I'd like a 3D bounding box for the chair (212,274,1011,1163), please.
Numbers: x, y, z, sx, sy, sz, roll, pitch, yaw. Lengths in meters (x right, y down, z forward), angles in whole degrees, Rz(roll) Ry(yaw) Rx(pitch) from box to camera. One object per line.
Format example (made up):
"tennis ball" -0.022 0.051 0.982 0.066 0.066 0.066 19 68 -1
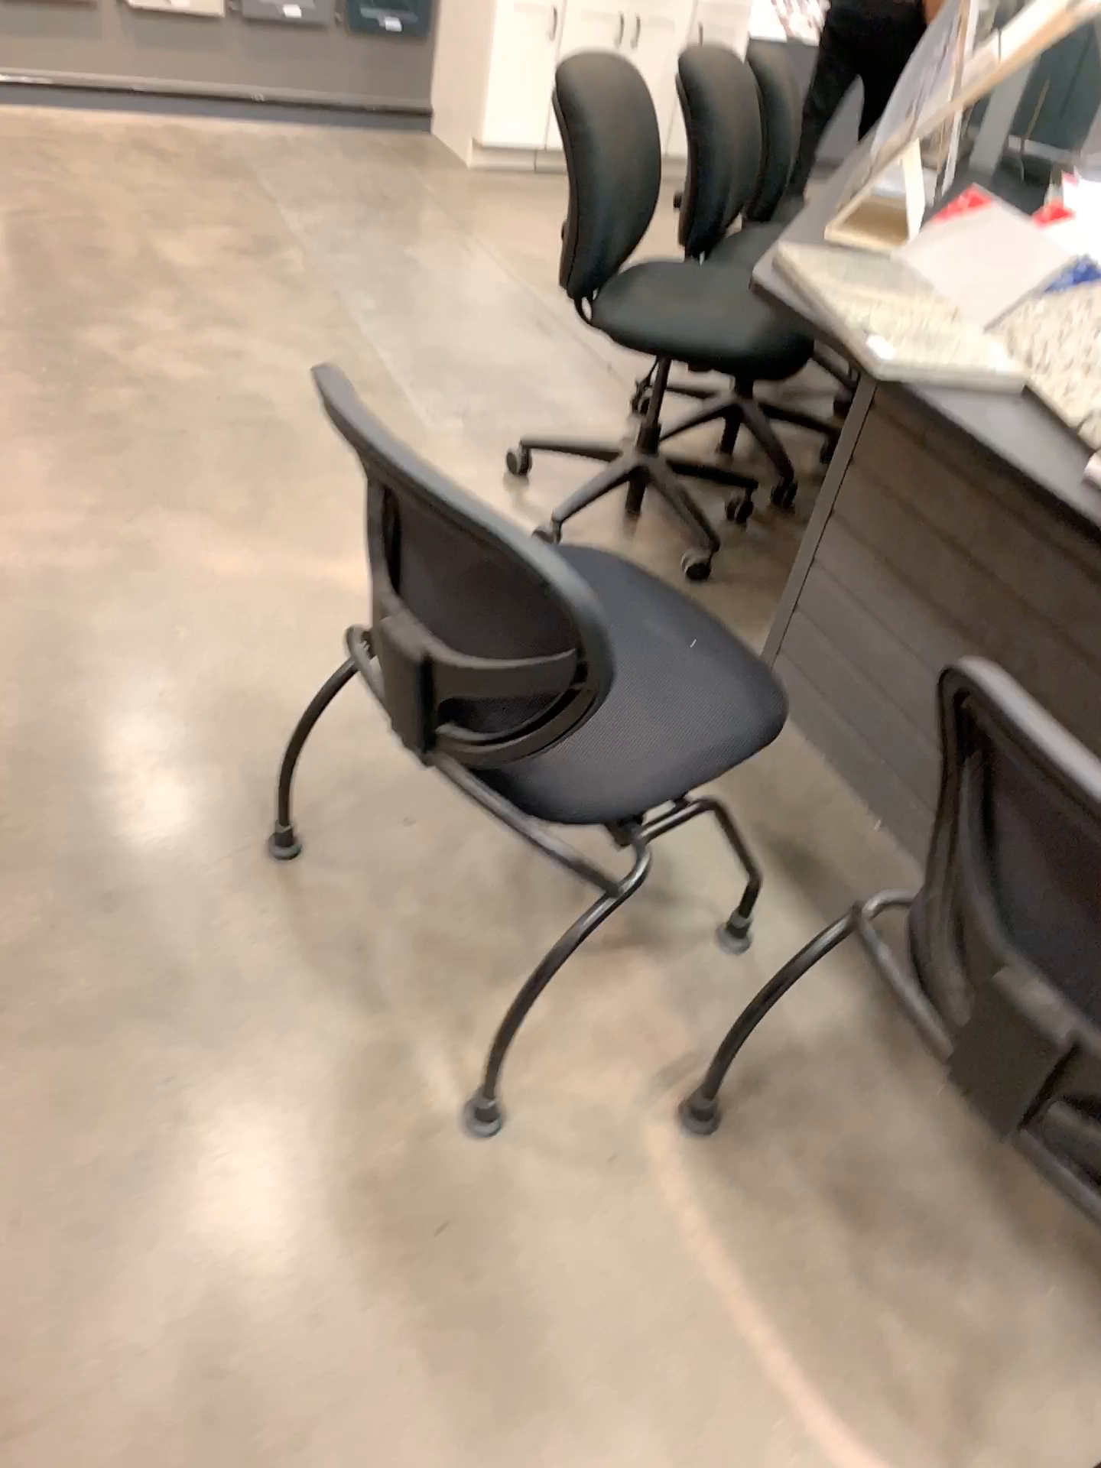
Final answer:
"chair" 0.002 -0.053 1.408 0.596 0.777 0.606 -21 49 -33

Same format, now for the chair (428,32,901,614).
"chair" 0.224 -0.903 2.432 0.644 0.886 0.708 23 42 14

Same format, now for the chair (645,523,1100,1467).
"chair" 0.566 0.309 1.113 0.585 0.777 0.596 -10 44 -25
